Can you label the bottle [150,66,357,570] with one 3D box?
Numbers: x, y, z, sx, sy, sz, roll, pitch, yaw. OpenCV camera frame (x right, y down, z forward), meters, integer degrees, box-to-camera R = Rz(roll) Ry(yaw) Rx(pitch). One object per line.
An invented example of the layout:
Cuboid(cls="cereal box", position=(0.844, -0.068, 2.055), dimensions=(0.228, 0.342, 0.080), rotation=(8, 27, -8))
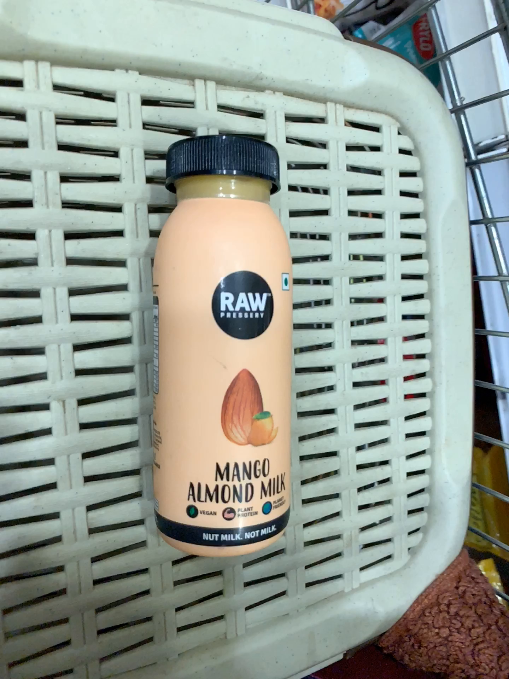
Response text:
Cuboid(cls="bottle", position=(-0.002, -0.006, 0.190), dimensions=(0.060, 0.040, 0.150), rotation=(-1, 93, -30))
